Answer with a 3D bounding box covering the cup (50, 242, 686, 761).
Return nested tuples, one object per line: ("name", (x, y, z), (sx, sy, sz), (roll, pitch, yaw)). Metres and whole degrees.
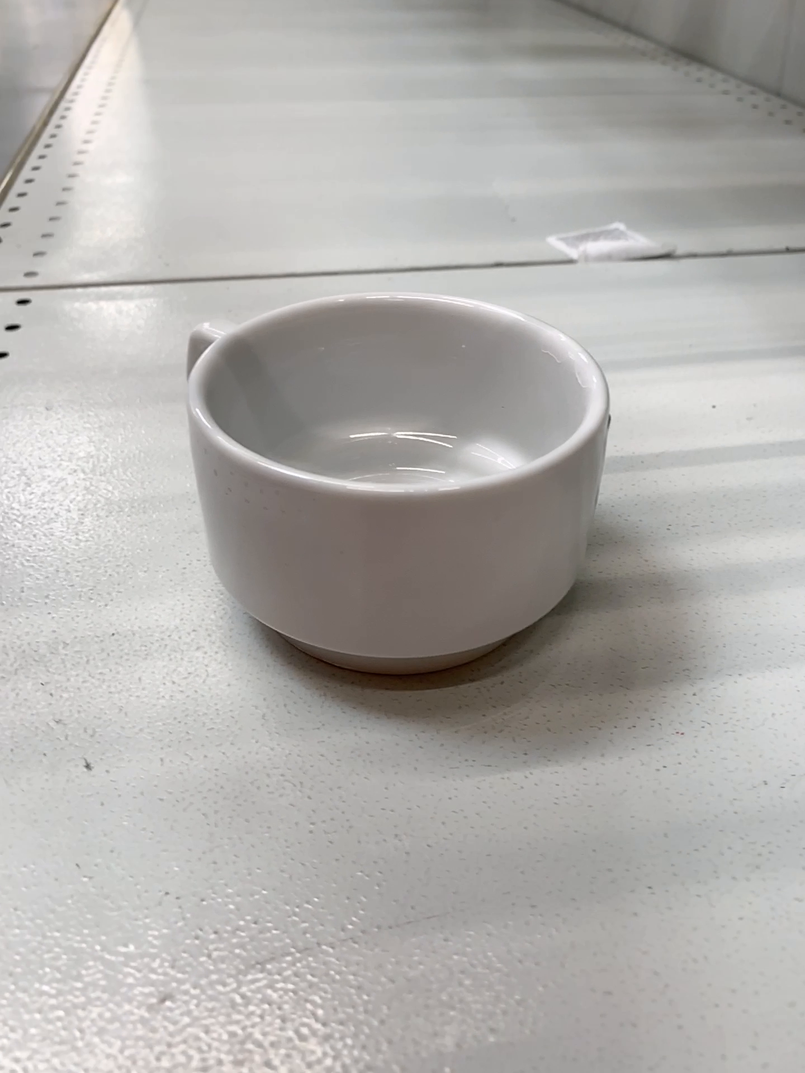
("cup", (-0.010, -0.021, 0.204), (0.111, 0.051, 0.091), (32, 48, 32))
